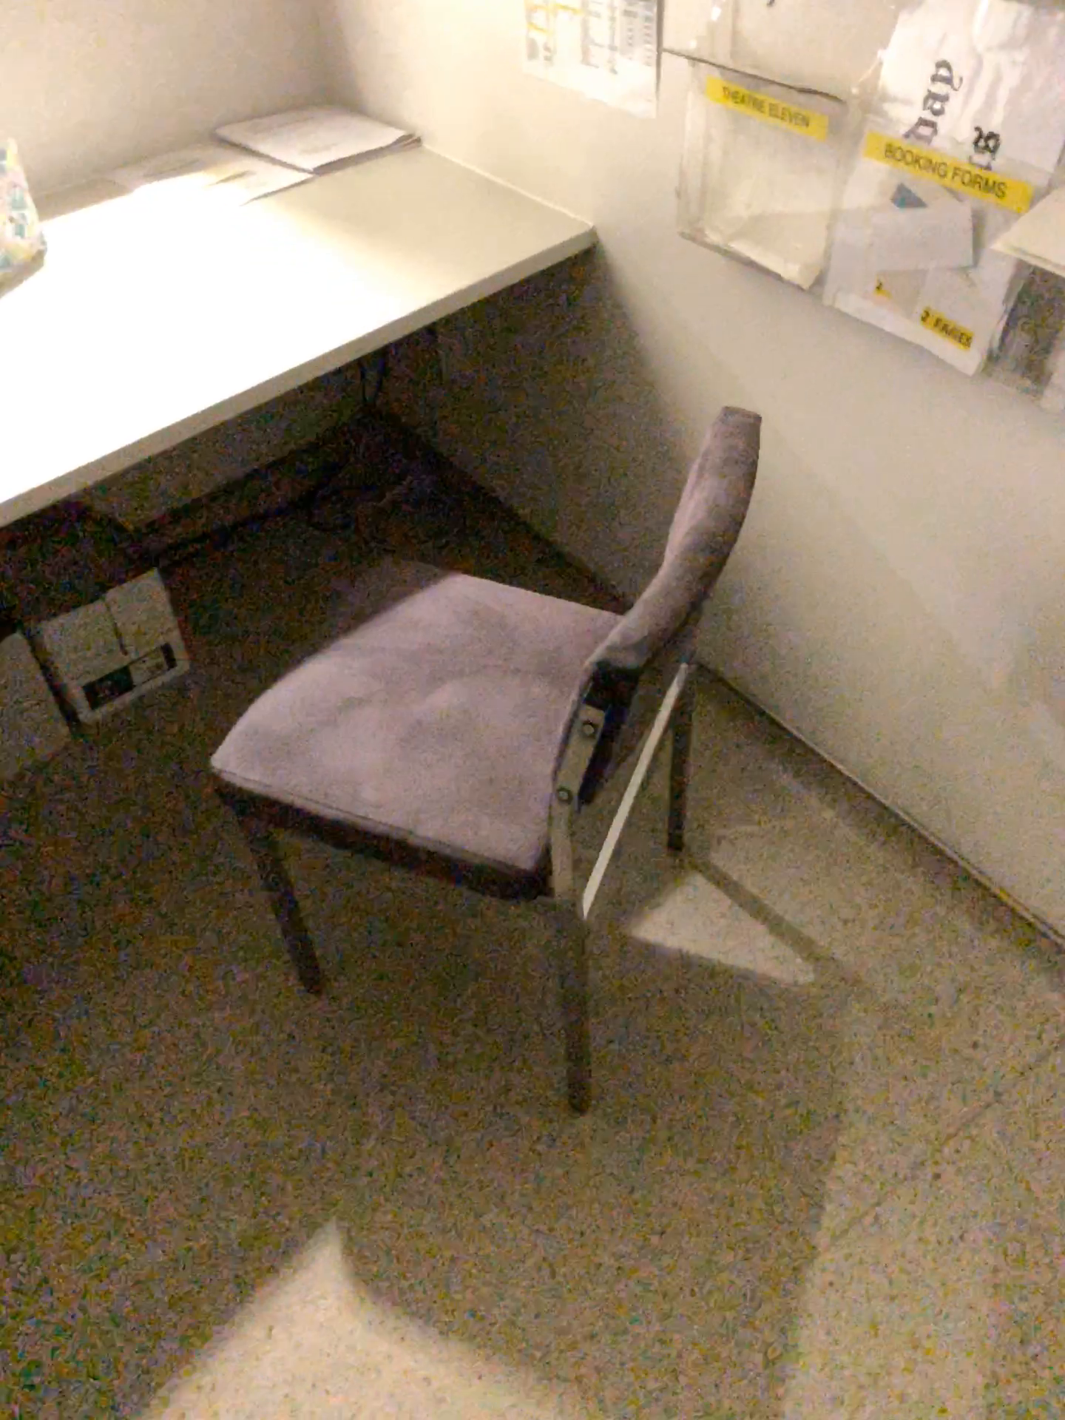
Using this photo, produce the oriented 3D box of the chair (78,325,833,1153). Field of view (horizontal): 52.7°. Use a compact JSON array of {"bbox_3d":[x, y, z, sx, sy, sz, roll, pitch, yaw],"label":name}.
[{"bbox_3d":[-0.025,0.015,1.285,0.551,0.663,0.575,15,46,19],"label":"chair"}]
